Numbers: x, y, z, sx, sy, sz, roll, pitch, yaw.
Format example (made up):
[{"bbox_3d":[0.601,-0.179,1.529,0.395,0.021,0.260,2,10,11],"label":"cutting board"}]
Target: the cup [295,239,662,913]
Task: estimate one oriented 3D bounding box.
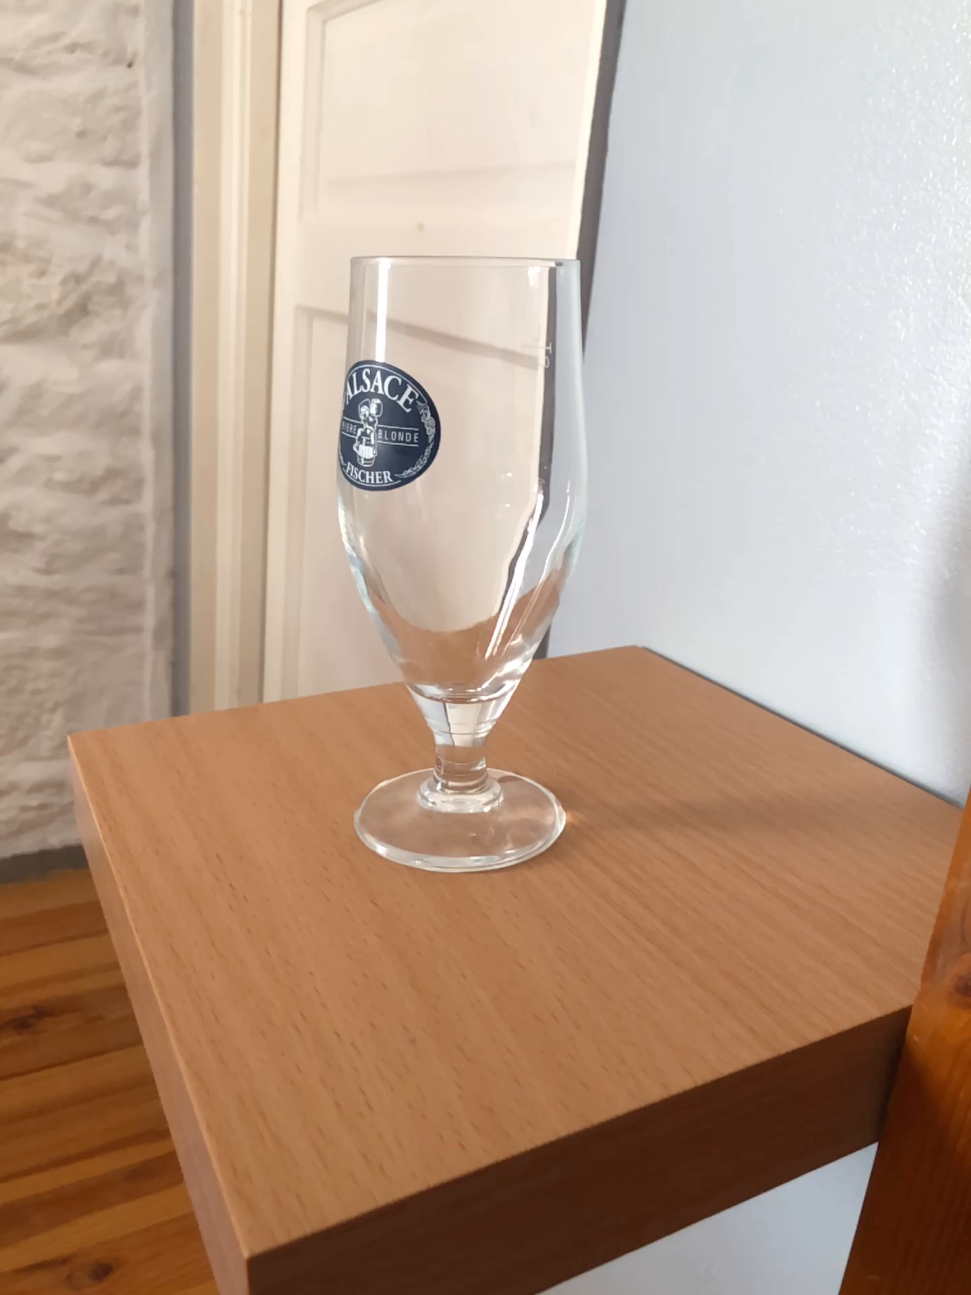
[{"bbox_3d":[-0.003,-0.024,0.305,0.068,0.166,0.068,1,17,0],"label":"cup"}]
